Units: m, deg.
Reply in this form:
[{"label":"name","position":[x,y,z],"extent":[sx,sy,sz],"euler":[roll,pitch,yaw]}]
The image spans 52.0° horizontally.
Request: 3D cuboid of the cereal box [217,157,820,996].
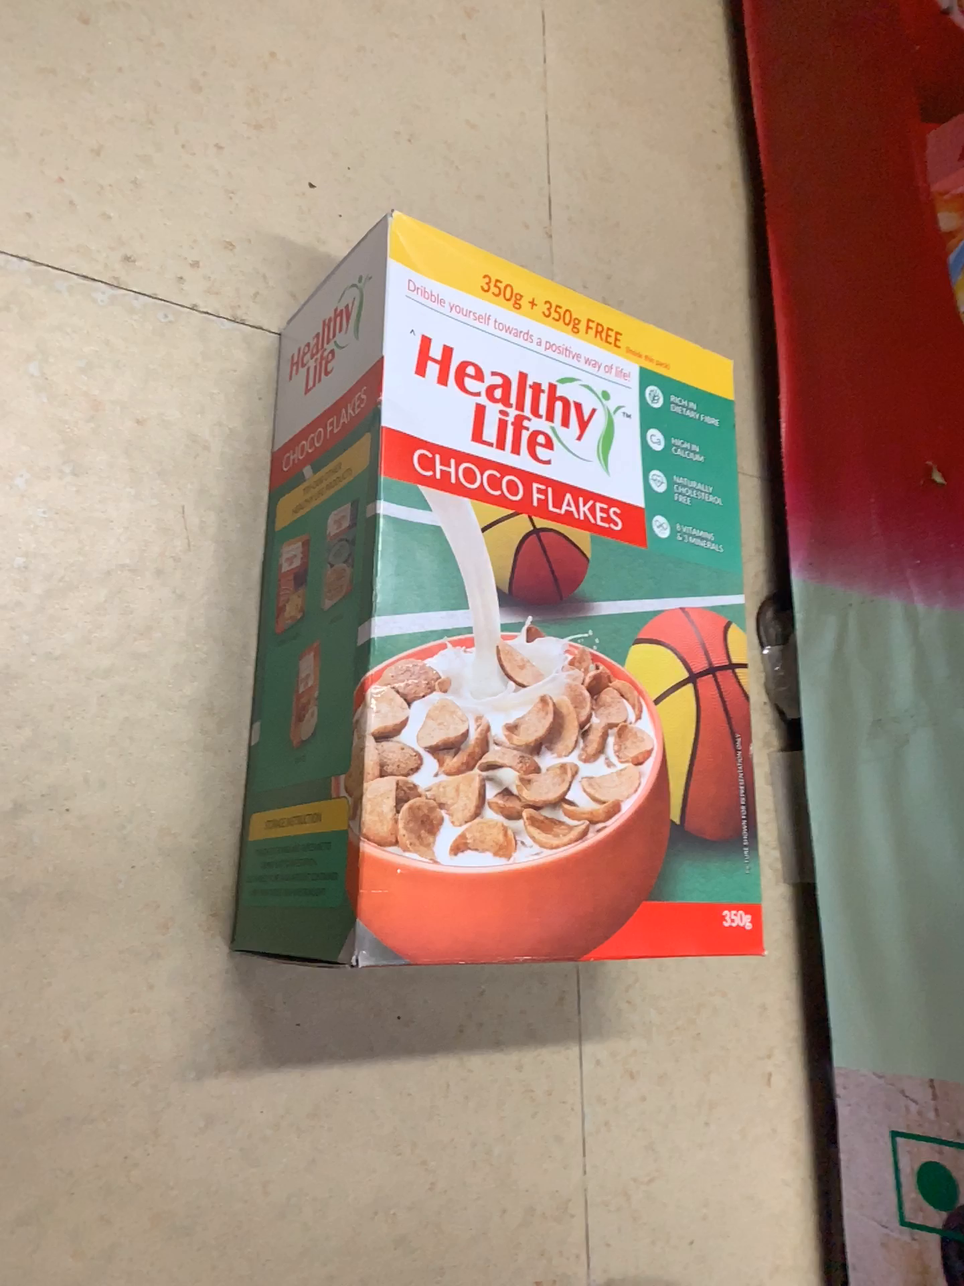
[{"label":"cereal box","position":[0.018,-0.009,0.410],"extent":[0.201,0.110,0.280],"euler":[11,71,-33]}]
